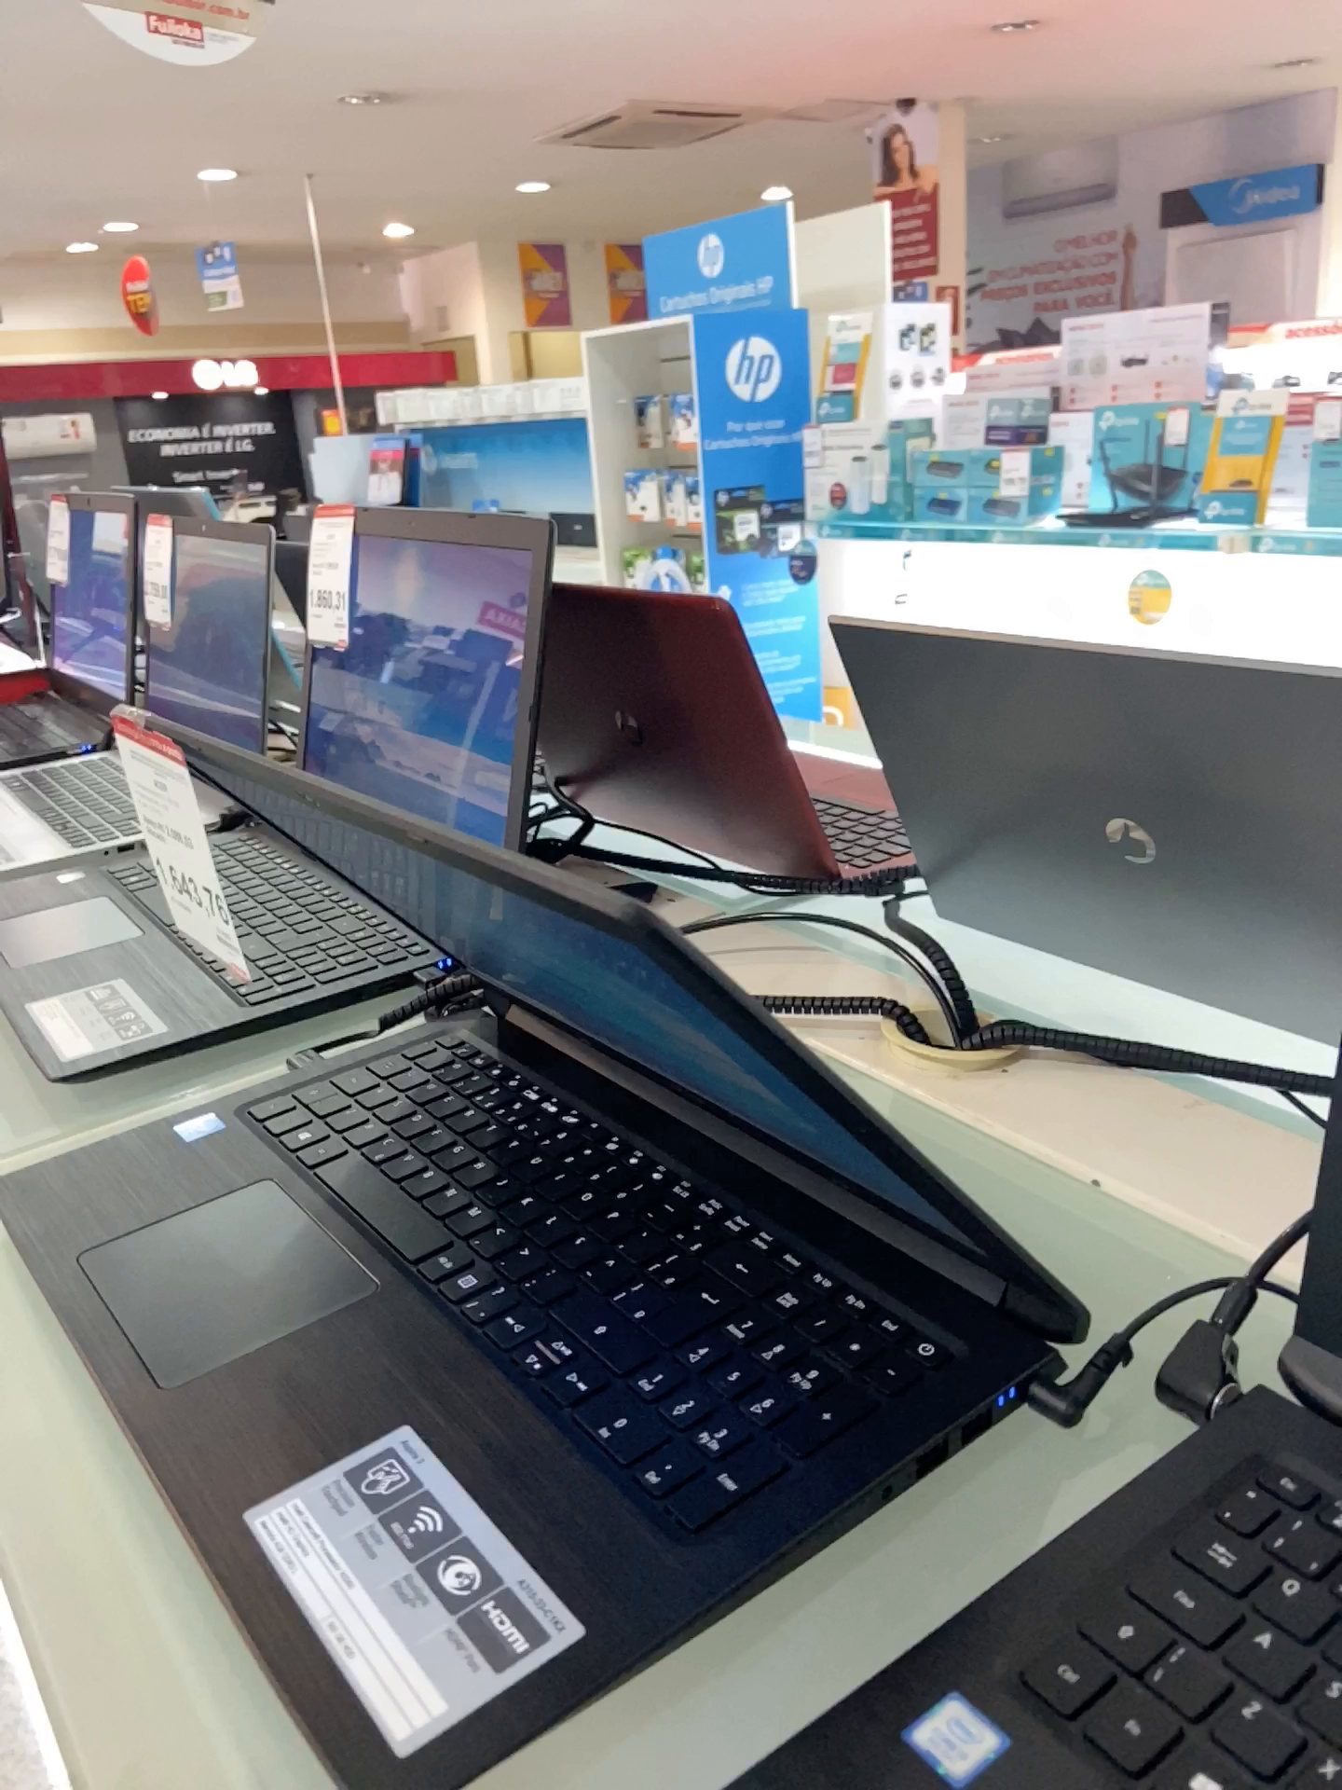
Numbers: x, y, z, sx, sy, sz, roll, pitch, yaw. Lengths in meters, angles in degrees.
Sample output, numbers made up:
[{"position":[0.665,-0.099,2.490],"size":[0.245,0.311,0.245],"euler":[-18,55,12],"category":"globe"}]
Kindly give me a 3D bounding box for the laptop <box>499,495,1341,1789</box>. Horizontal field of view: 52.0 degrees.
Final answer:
[{"position":[0.208,0.099,0.168],"size":[0.284,0.247,0.400],"euler":[-18,23,-32],"category":"laptop"}]

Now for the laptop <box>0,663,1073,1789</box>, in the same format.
[{"position":[-0.090,0.046,0.487],"size":[0.239,0.185,0.380],"euler":[-18,22,-33],"category":"laptop"}]

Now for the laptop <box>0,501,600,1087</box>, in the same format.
[{"position":[-0.298,-0.109,0.890],"size":[0.326,0.232,0.401],"euler":[-18,23,-30],"category":"laptop"}]
